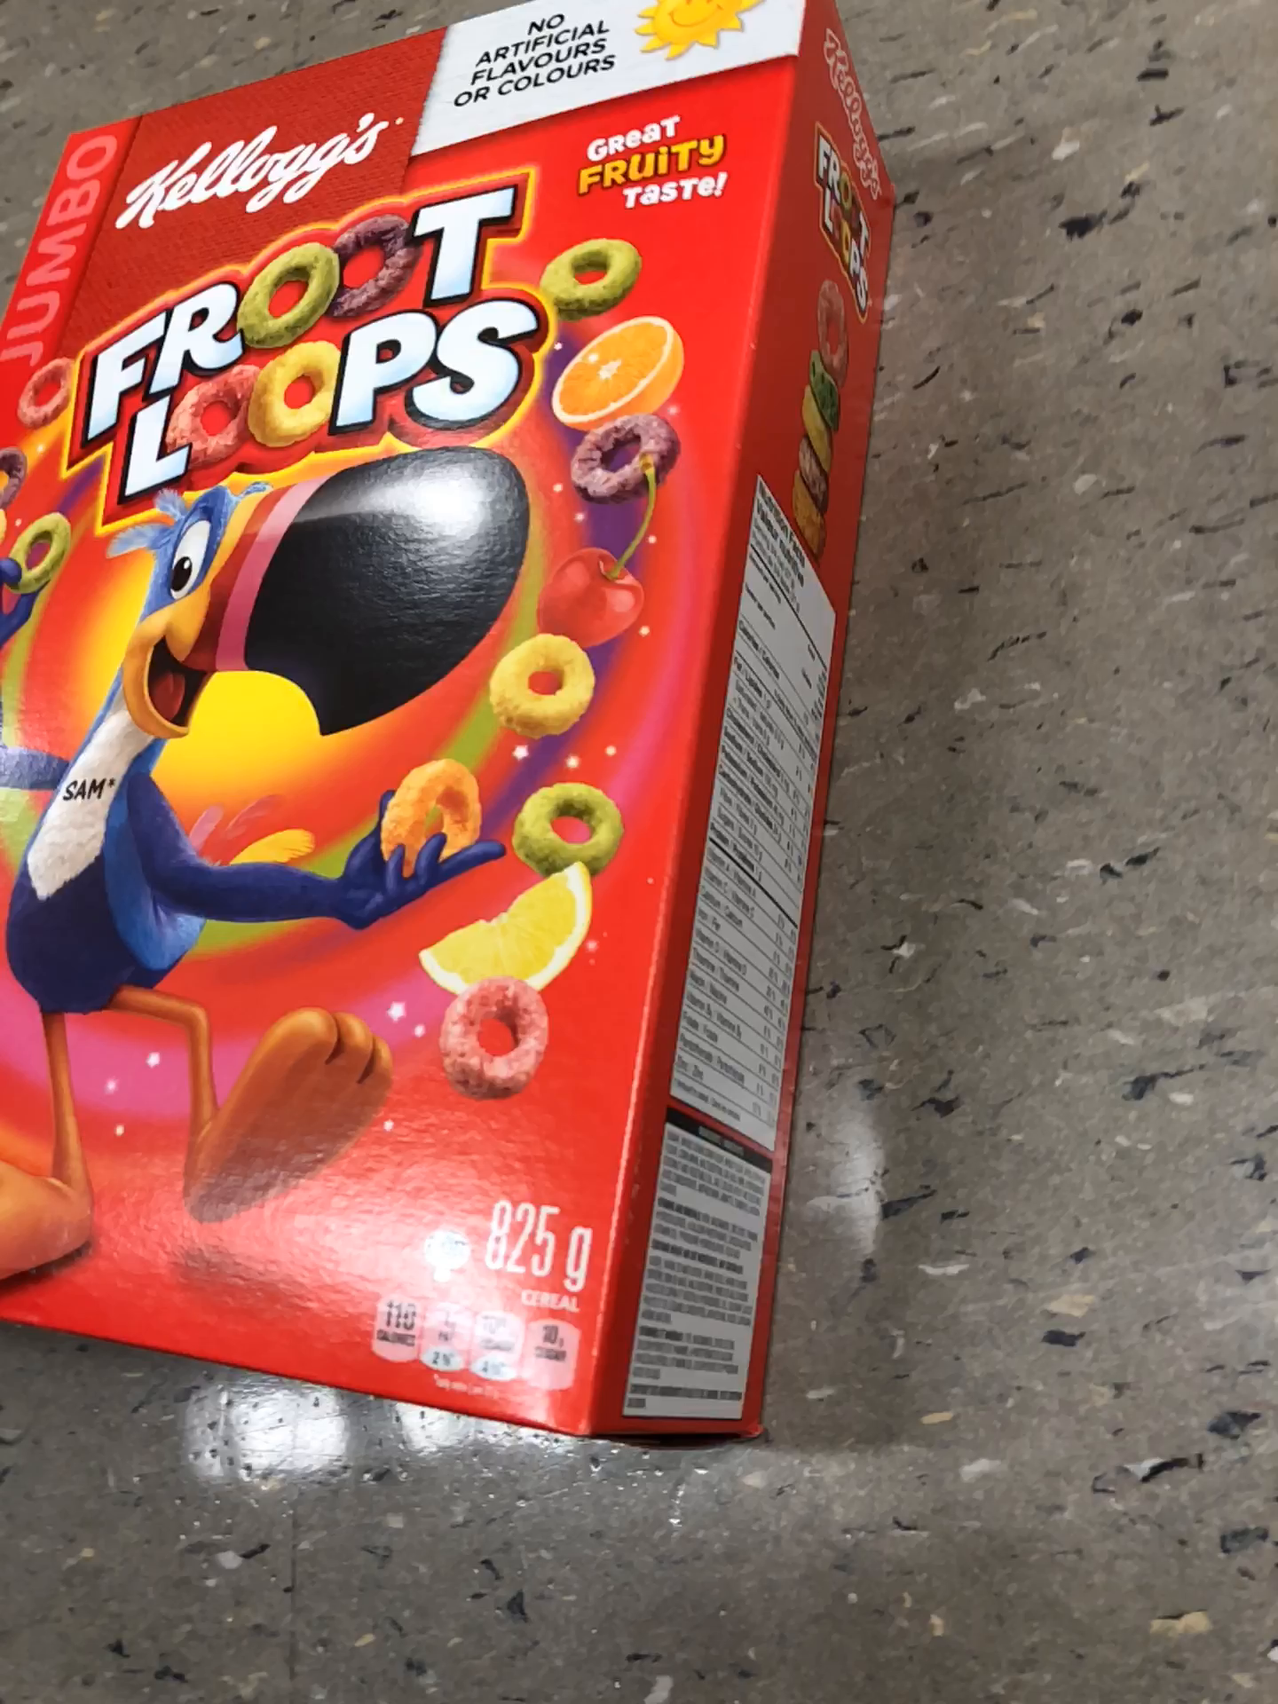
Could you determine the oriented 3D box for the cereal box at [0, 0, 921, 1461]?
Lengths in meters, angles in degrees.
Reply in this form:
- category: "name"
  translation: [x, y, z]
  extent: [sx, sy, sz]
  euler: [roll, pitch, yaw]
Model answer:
- category: "cereal box"
  translation: [-0.086, -0.065, 0.353]
  extent: [0.271, 0.080, 0.360]
  euler: [-1, 67, 25]
